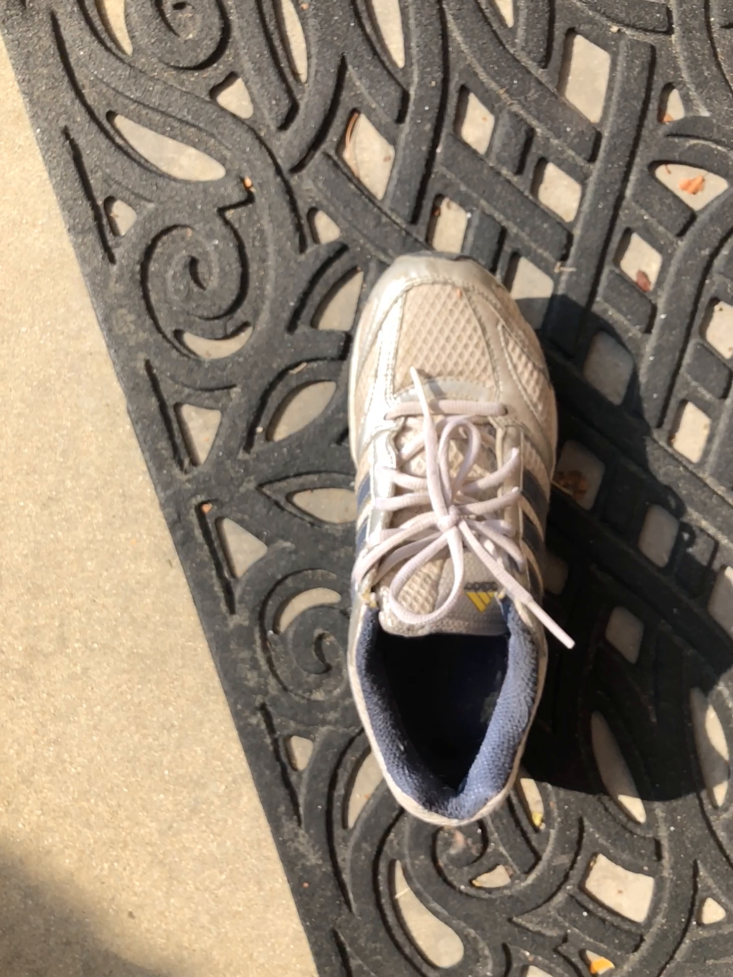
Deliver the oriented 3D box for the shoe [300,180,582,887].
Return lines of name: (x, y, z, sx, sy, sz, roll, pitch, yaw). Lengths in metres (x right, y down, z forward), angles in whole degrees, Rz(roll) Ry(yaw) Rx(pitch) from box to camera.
shoe: (0.035, 0.016, 0.368, 0.100, 0.130, 0.260, 0, 96, 7)
